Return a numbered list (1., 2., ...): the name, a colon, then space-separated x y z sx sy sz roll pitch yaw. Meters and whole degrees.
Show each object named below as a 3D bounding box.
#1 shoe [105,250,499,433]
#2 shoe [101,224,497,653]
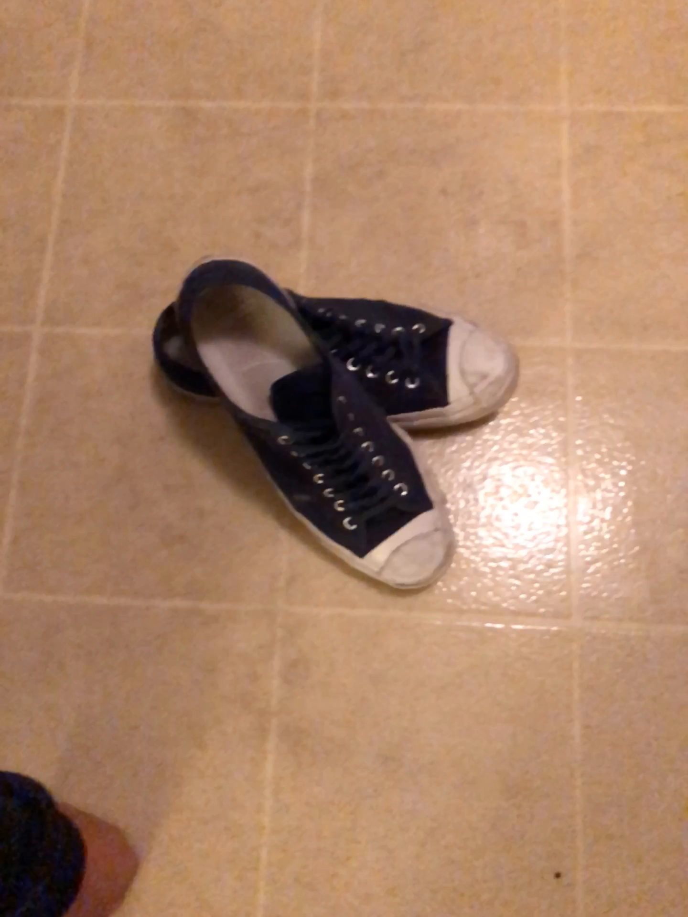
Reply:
1. shoe: -0.030 -0.089 0.611 0.290 0.080 0.110 3 81 -4
2. shoe: -0.023 -0.017 0.546 0.100 0.100 0.290 -36 102 12
